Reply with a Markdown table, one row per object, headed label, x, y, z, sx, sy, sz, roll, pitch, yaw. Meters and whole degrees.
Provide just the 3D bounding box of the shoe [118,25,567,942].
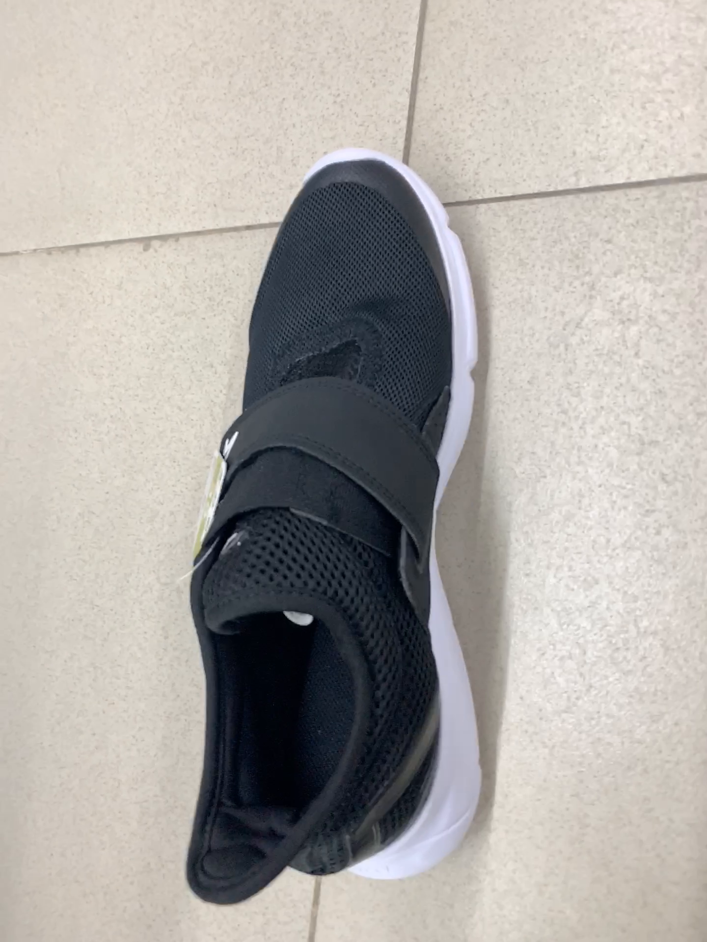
| label | x | y | z | sx | sy | sz | roll | pitch | yaw |
| --- | --- | --- | --- | --- | --- | --- | --- | --- | --- |
| shoe | -0.003 | 0.013 | 0.251 | 0.110 | 0.100 | 0.250 | -6 | 81 | 29 |
